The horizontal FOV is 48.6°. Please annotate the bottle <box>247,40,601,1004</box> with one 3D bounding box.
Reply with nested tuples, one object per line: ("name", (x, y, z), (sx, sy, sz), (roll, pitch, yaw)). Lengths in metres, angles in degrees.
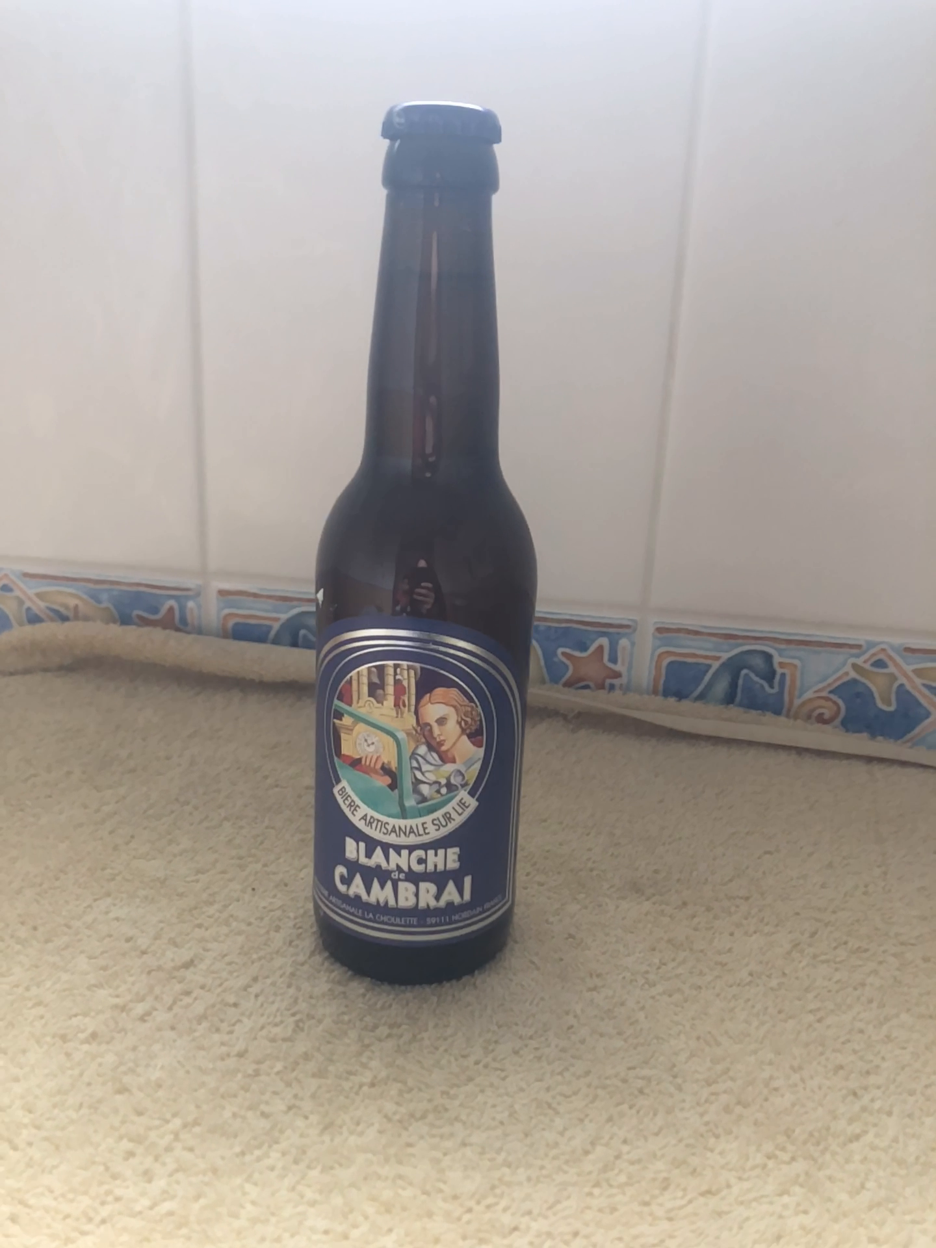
("bottle", (-0.010, -0.020, 0.269), (0.070, 0.219, 0.070), (2, 18, -1))
